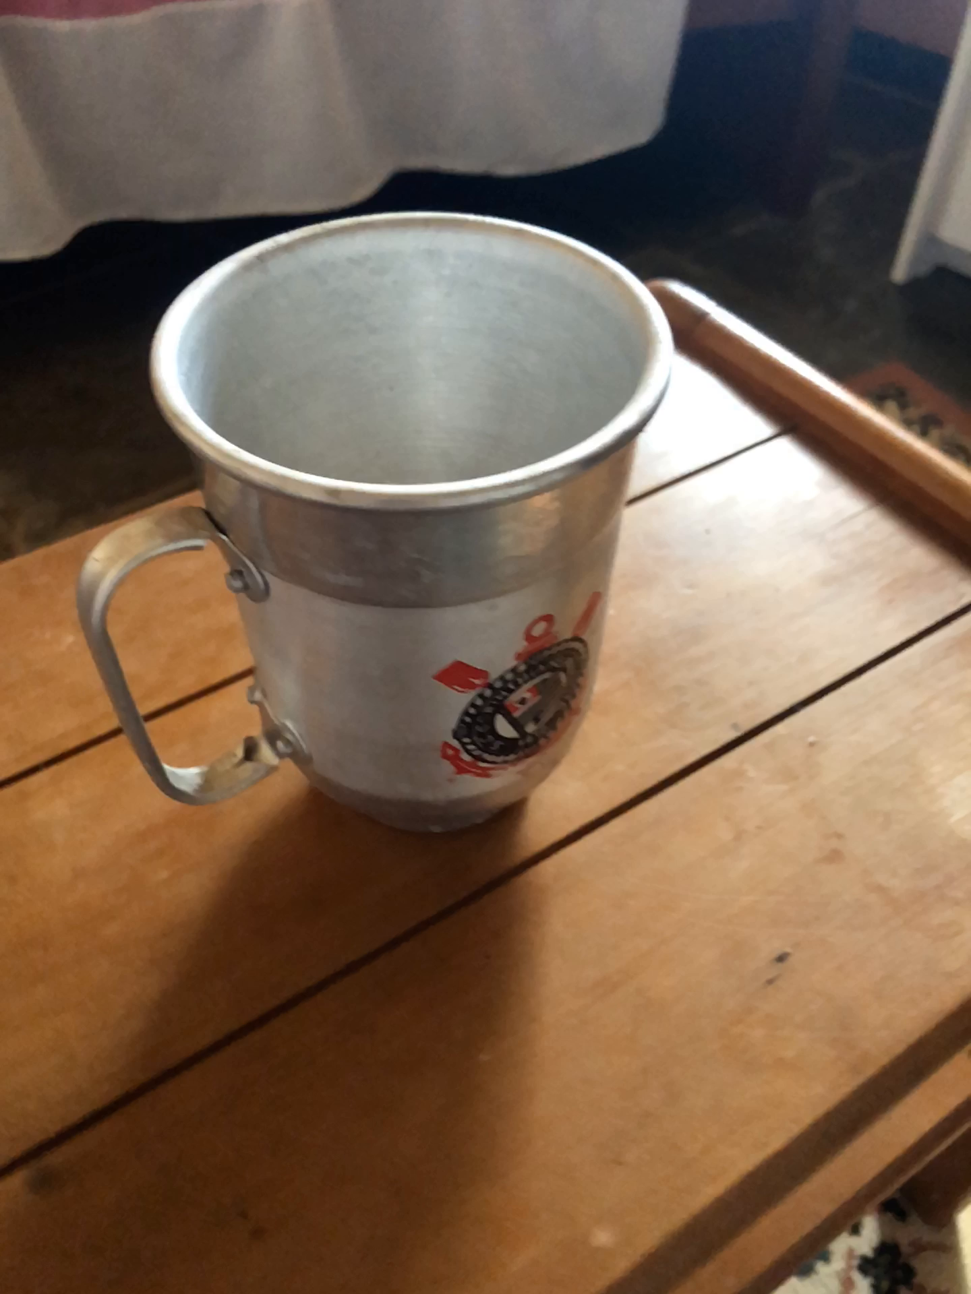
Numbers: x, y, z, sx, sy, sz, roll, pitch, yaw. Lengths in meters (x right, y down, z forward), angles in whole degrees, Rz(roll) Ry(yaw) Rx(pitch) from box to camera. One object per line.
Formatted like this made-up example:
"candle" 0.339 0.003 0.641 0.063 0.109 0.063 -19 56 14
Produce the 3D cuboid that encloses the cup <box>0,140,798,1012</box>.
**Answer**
"cup" -0.023 -0.018 0.245 0.120 0.129 0.100 -24 51 -22
